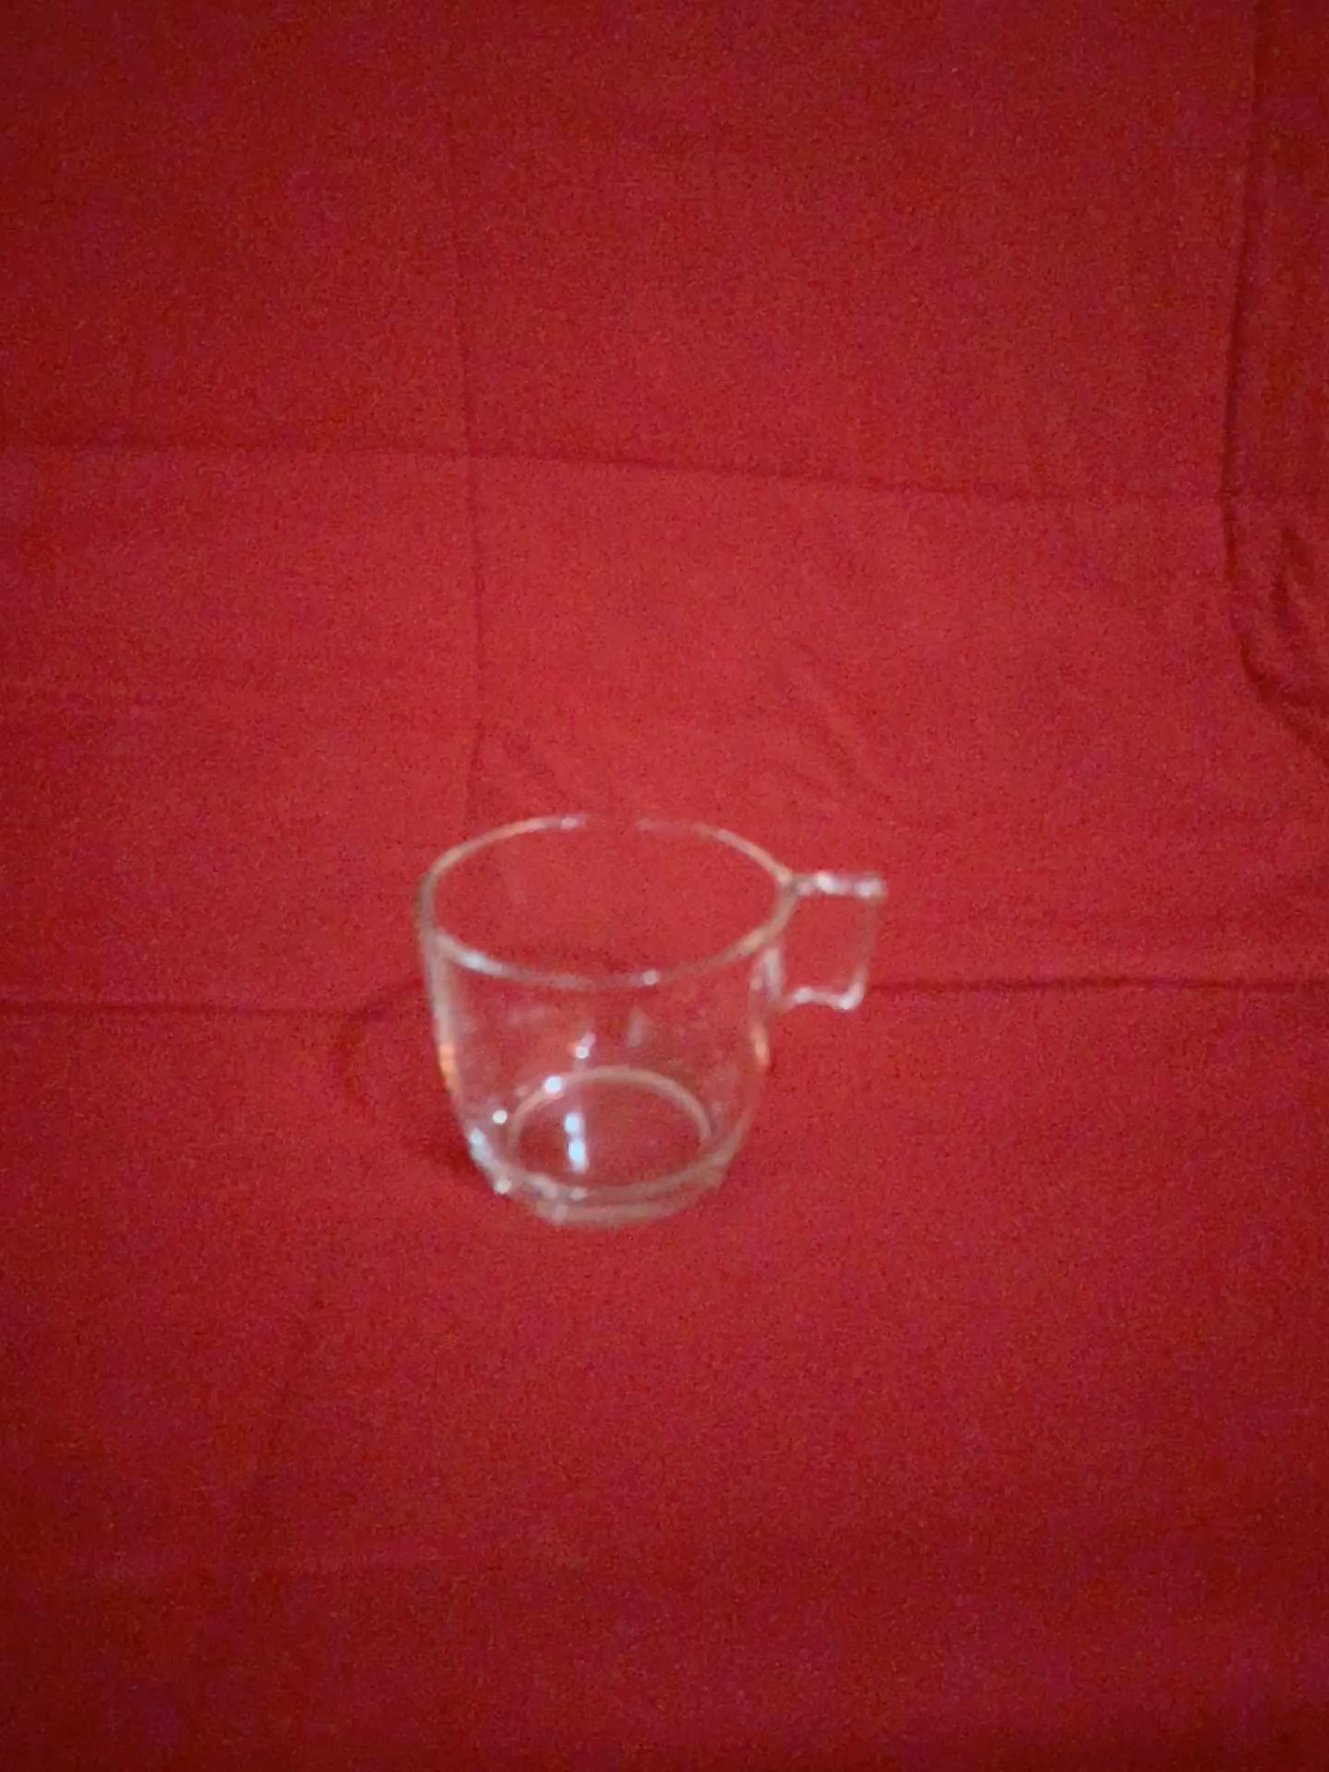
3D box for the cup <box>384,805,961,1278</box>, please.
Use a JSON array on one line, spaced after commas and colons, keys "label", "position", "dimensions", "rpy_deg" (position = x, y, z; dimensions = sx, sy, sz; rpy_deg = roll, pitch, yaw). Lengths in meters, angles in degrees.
[{"label": "cup", "position": [-0.001, 0.033, 0.324], "dimensions": [0.116, 0.069, 0.090], "rpy_deg": [-3, 28, -4]}]
